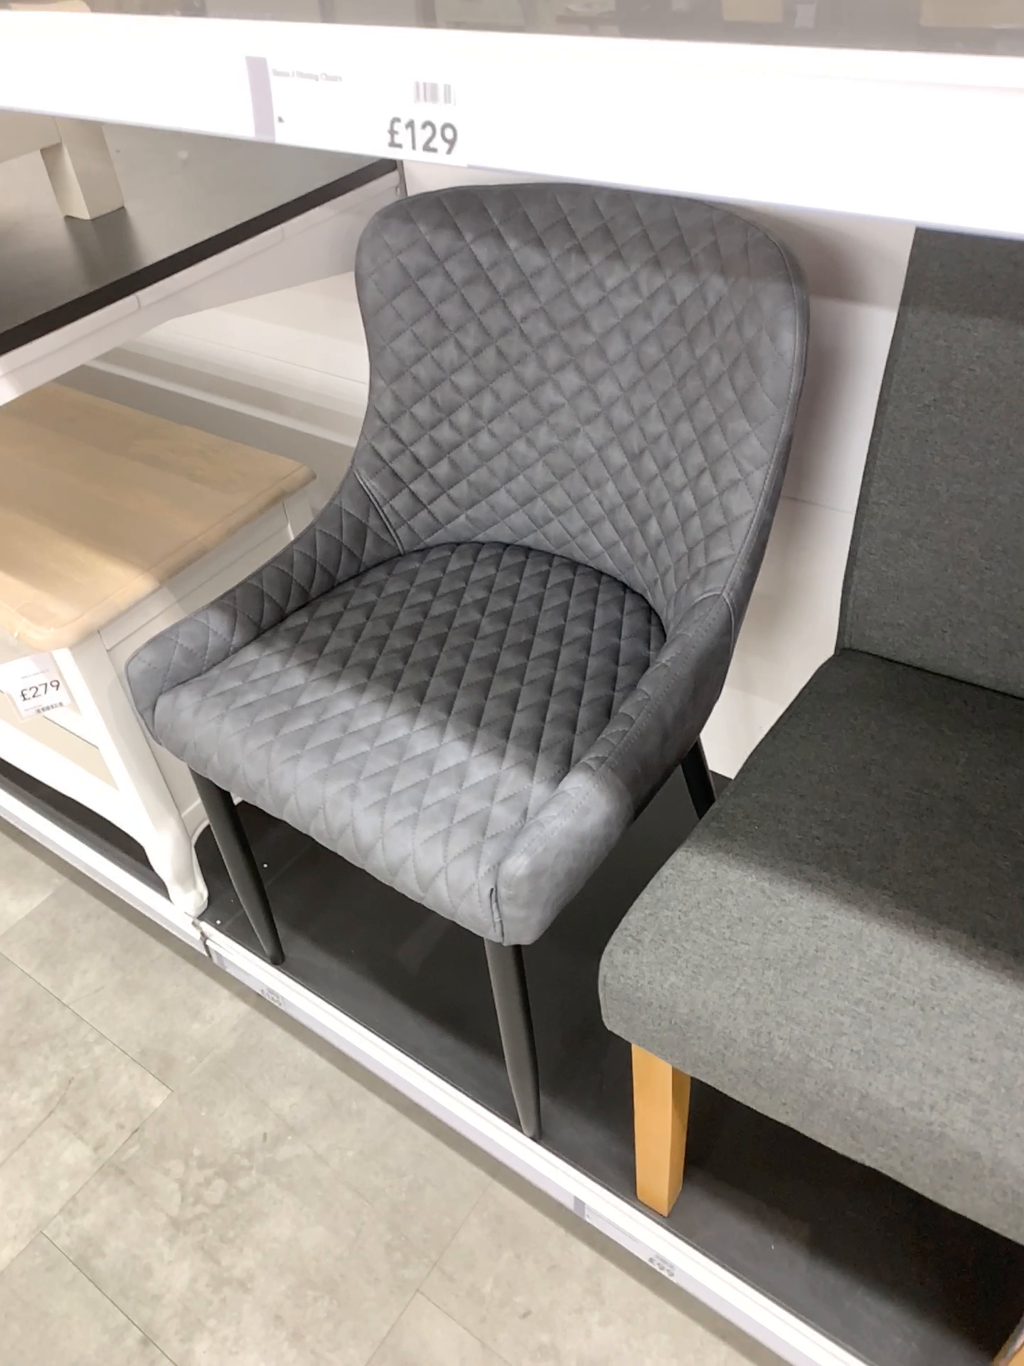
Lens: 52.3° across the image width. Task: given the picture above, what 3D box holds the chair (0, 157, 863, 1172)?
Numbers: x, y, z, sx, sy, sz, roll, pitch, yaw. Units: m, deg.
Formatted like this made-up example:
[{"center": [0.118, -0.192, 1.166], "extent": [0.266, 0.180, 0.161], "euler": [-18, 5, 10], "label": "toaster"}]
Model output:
[{"center": [-0.022, -0.026, 1.097], "extent": [0.482, 0.792, 0.543], "euler": [22, 49, 29], "label": "chair"}]

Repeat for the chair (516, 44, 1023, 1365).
[{"center": [0.377, 0.088, 0.828], "extent": [0.432, 0.911, 0.563], "euler": [22, 49, 29], "label": "chair"}]
